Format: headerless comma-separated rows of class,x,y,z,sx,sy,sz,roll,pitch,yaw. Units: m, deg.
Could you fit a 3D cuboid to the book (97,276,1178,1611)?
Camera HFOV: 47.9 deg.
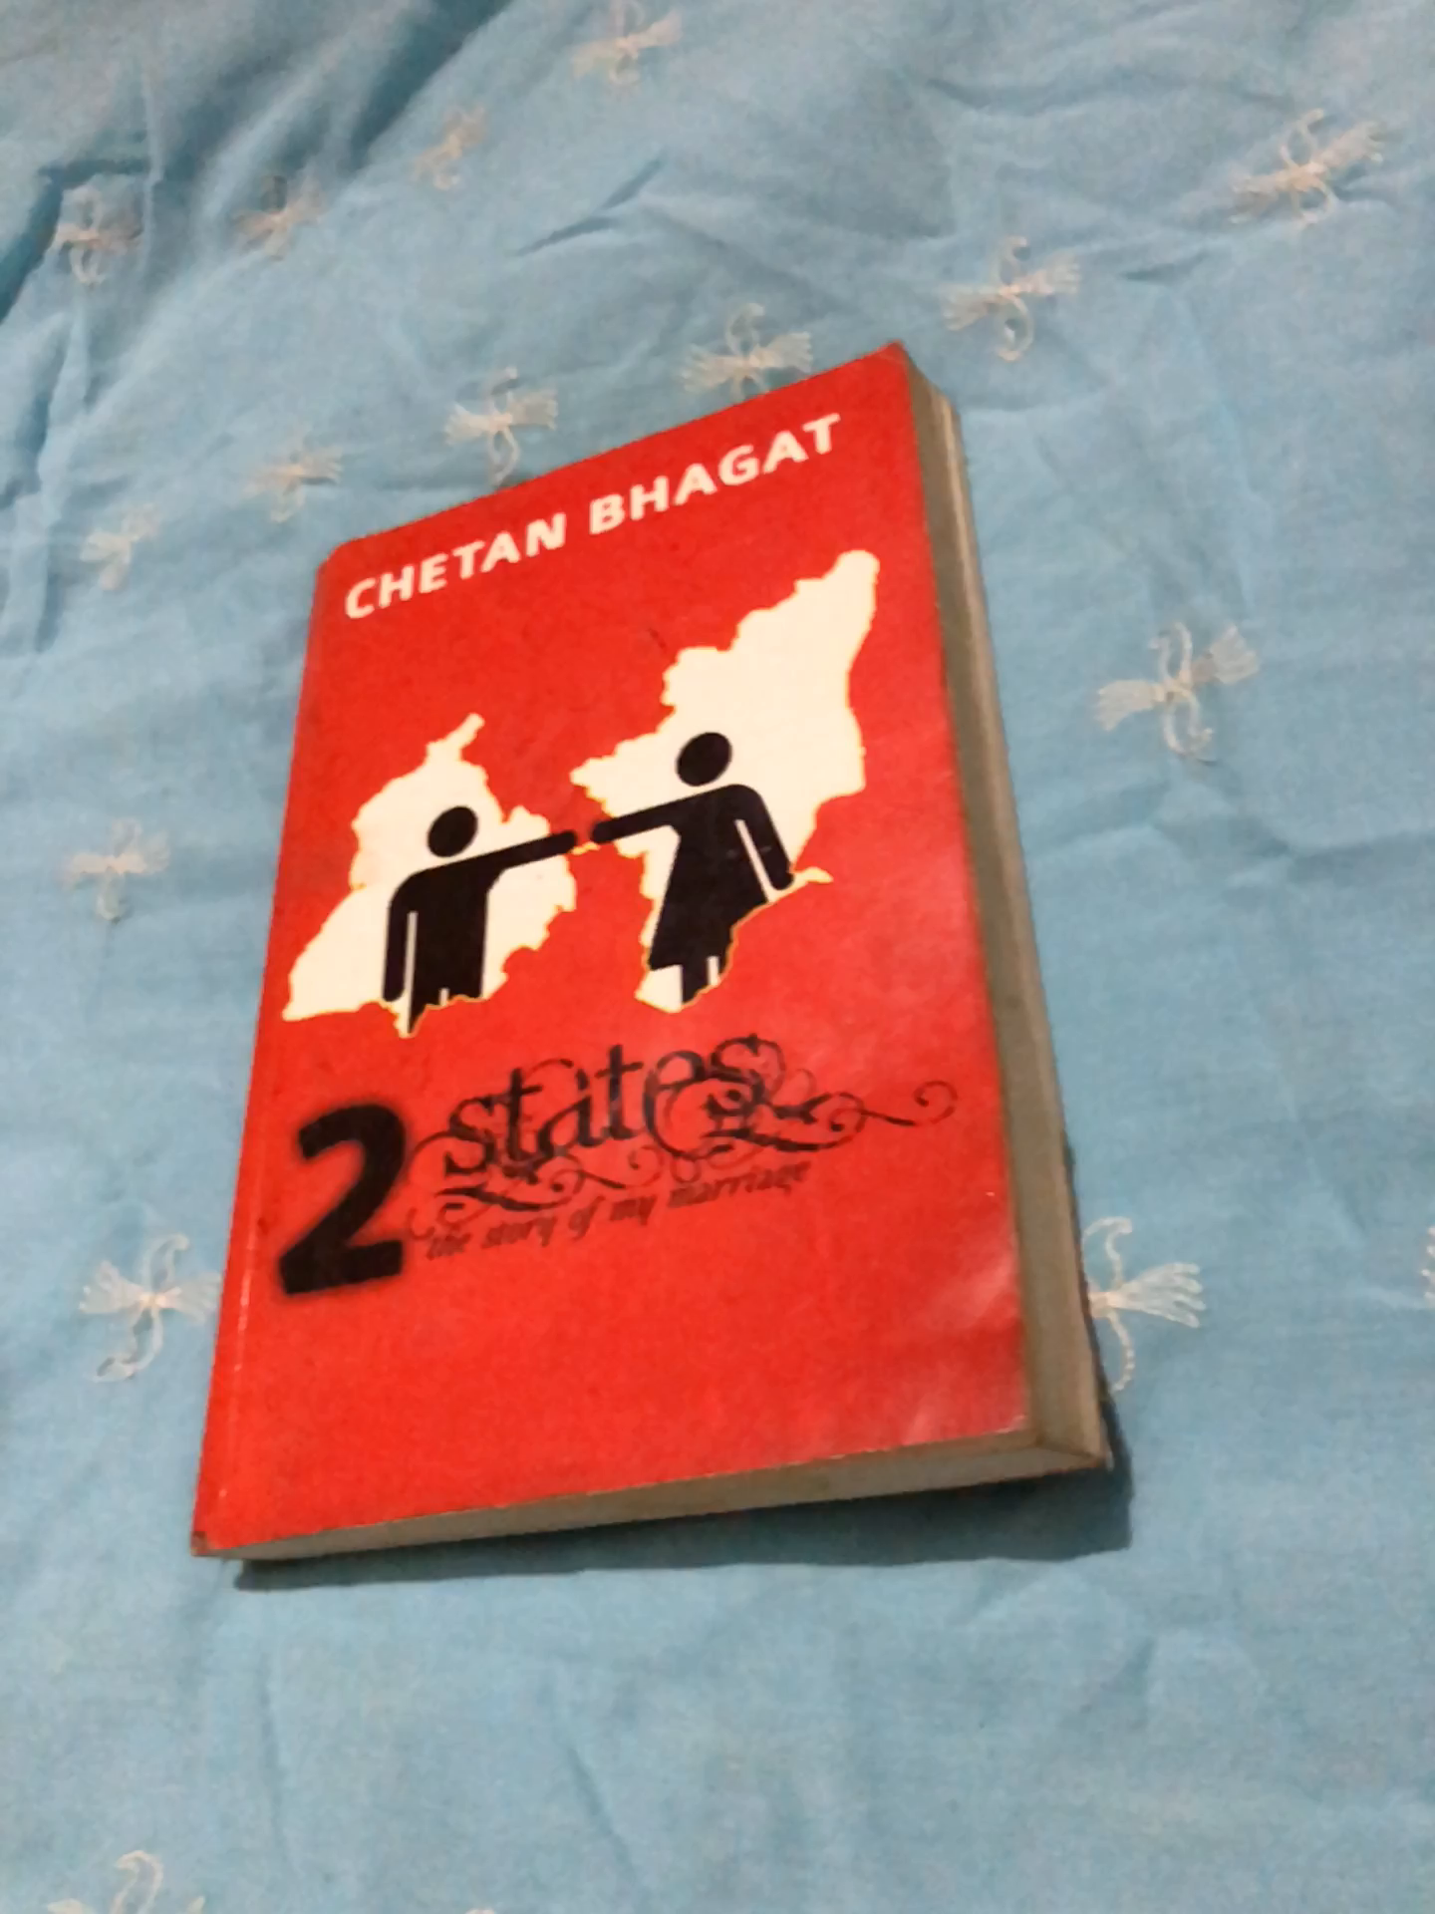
book,-0.018,-0.010,0.261,0.140,0.030,0.200,-14,57,17
